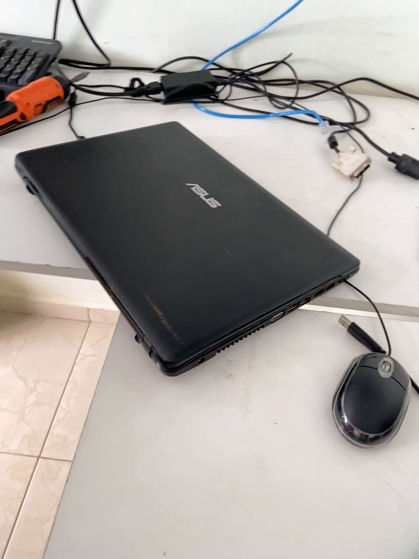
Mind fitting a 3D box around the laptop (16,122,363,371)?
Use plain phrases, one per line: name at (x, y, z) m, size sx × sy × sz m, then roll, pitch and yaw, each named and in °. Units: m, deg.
laptop at (-0.042, -0.087, 0.522) m, size 0.253 × 0.010 × 0.382 m, roll -23°, pitch 51°, yaw -28°
